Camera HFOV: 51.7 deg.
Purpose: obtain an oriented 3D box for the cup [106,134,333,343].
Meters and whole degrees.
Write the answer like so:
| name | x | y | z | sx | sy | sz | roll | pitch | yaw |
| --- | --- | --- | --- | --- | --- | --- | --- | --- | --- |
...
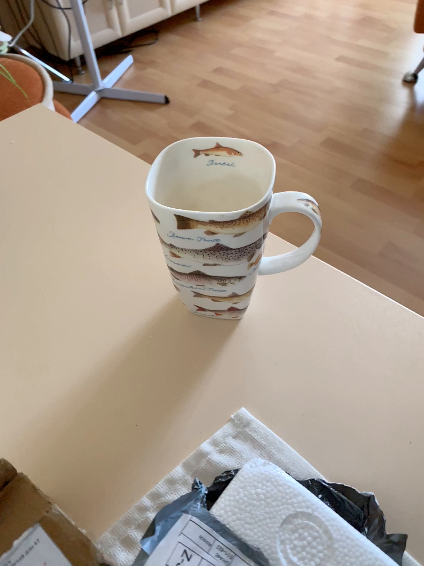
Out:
| name | x | y | z | sx | sy | sz | roll | pitch | yaw |
| --- | --- | --- | --- | --- | --- | --- | --- | --- | --- |
| cup | 0.013 | -0.033 | 0.339 | 0.139 | 0.122 | 0.092 | 5 | 50 | 9 |
